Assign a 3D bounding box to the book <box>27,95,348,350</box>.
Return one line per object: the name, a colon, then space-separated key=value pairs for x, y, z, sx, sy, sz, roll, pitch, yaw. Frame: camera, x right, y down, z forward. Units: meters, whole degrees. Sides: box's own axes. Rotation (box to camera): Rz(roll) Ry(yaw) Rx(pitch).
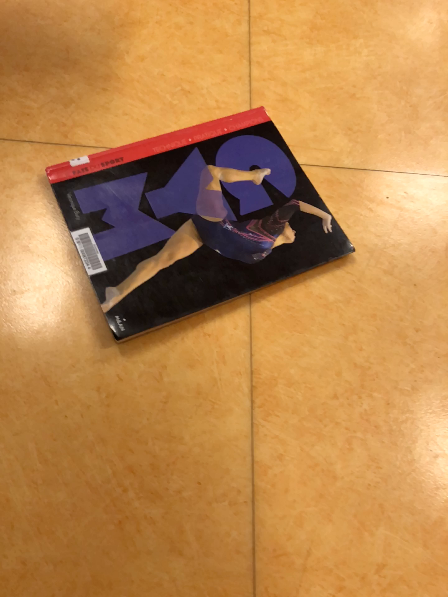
book: x=-0.035 y=-0.085 z=0.464 sx=0.234 sy=0.030 sz=0.193 roll=-21 pitch=69 yaw=-16
